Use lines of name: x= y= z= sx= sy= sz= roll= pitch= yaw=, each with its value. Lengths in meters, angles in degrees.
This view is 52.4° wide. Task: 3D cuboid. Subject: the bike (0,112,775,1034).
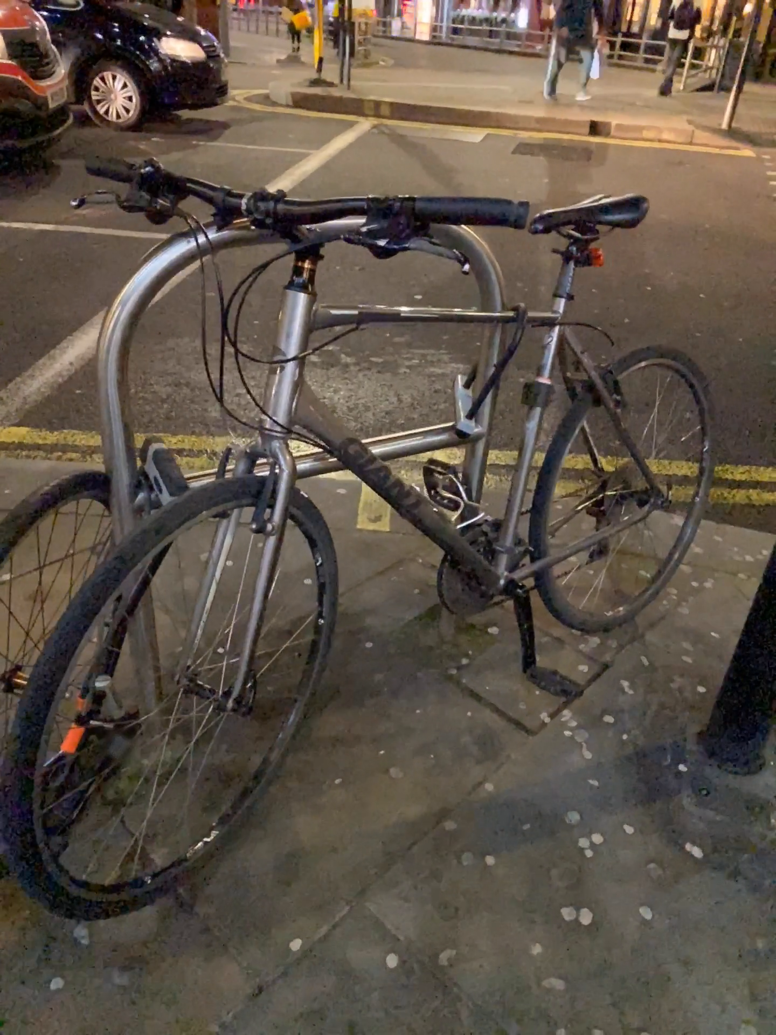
bike: x=0.080 y=-0.122 z=1.548 sx=1.825 sy=1.124 sz=0.710 roll=-24 pitch=41 yaw=-37
